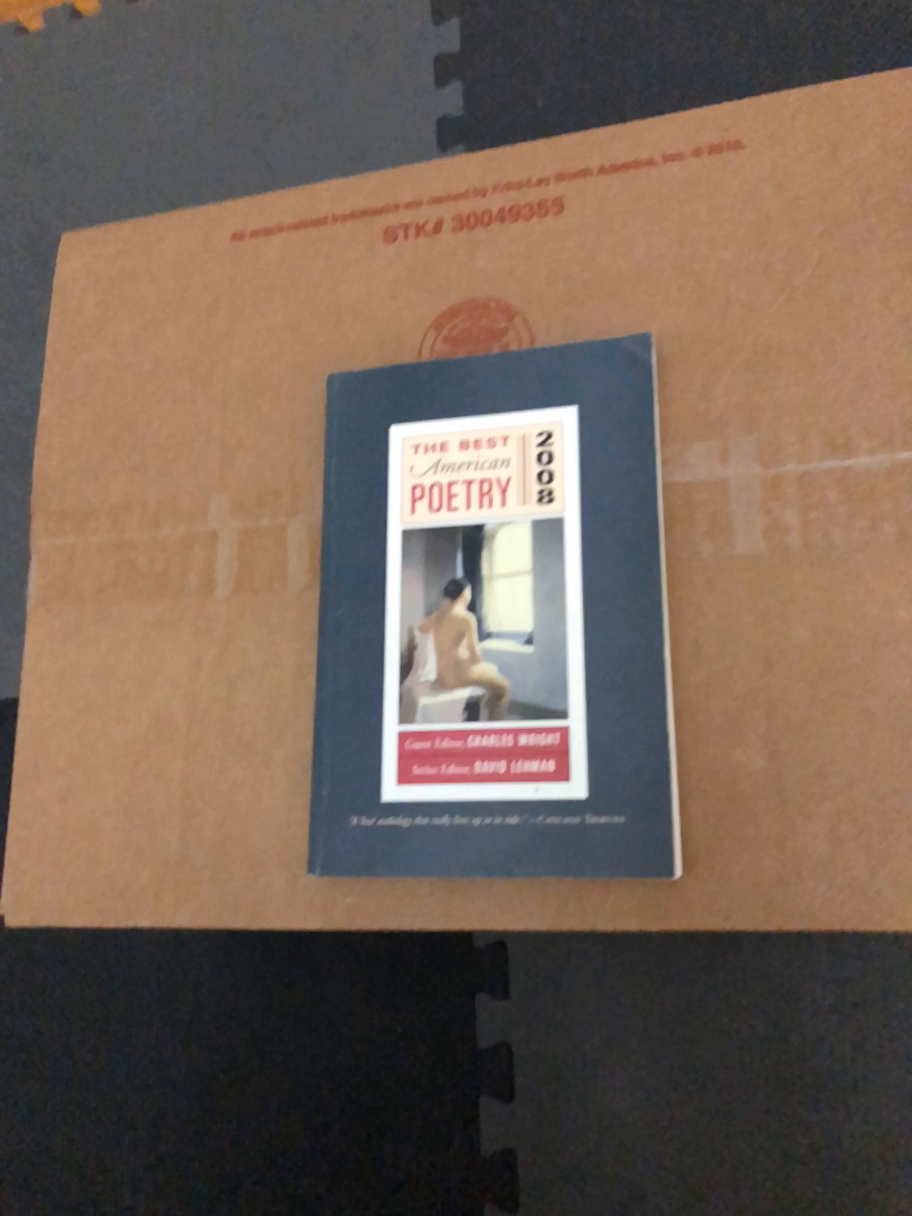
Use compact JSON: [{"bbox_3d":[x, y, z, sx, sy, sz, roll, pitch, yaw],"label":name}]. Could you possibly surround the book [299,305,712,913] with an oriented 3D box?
[{"bbox_3d":[0.014,0.000,0.399,0.150,0.020,0.230,-5,74,15],"label":"book"}]
